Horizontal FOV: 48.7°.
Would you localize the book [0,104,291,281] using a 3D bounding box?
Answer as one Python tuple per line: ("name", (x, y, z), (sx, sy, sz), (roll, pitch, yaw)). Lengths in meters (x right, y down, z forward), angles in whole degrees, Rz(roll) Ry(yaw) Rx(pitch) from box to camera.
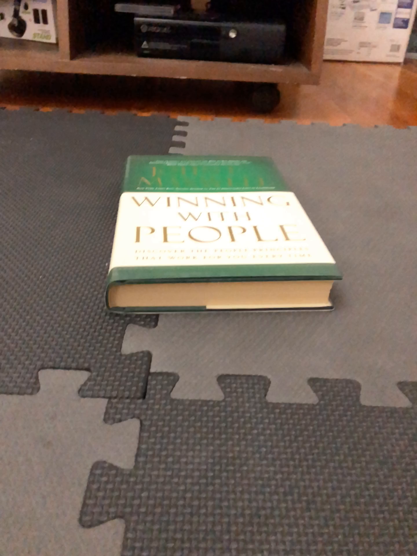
("book", (-0.063, -0.090, 0.377), (0.200, 0.030, 0.292), (0, 33, -4))
